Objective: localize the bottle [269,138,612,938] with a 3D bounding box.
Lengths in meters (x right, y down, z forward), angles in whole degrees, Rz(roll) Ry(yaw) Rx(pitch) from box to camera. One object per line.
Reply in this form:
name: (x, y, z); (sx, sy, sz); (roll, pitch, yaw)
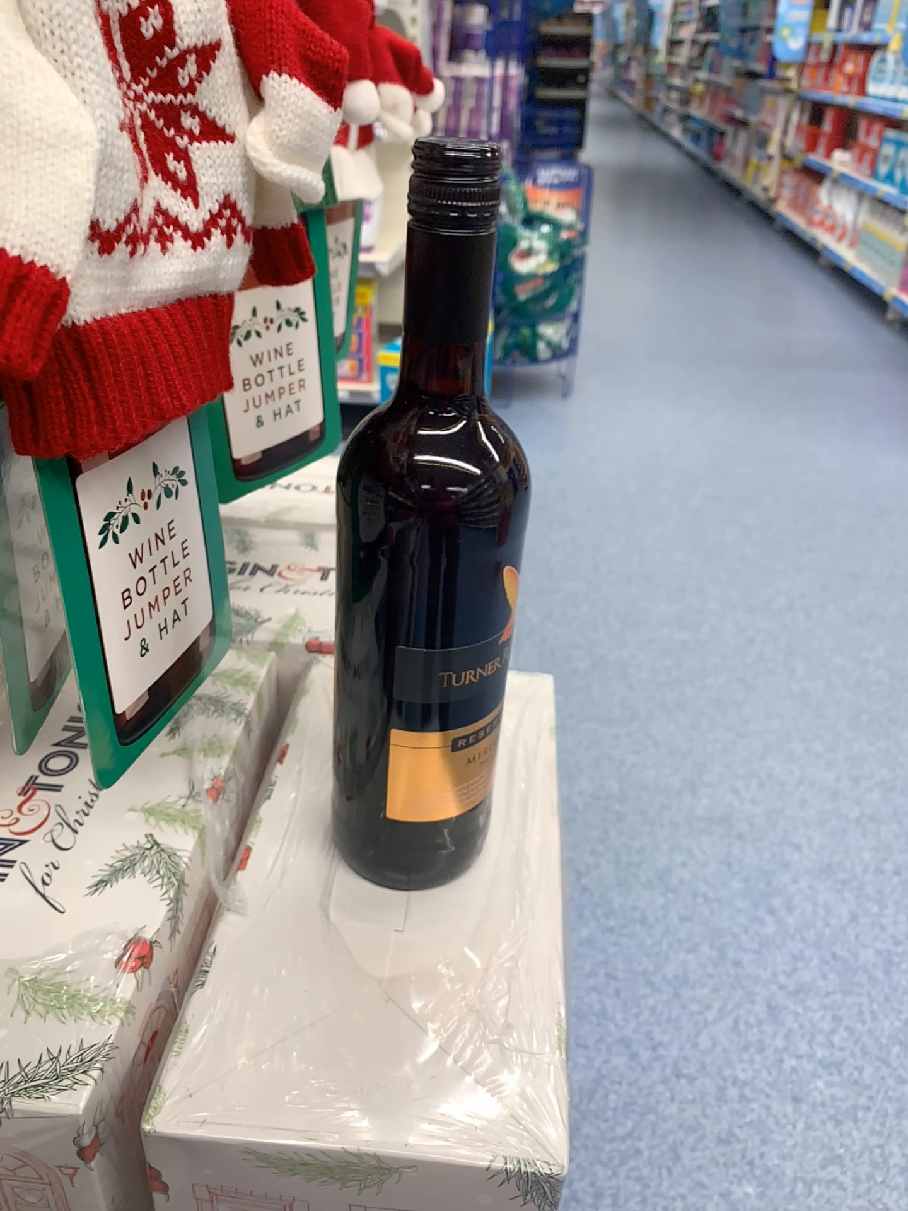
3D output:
bottle: (-0.007, -0.014, 0.362); (0.074, 0.288, 0.078); (2, 30, -1)
